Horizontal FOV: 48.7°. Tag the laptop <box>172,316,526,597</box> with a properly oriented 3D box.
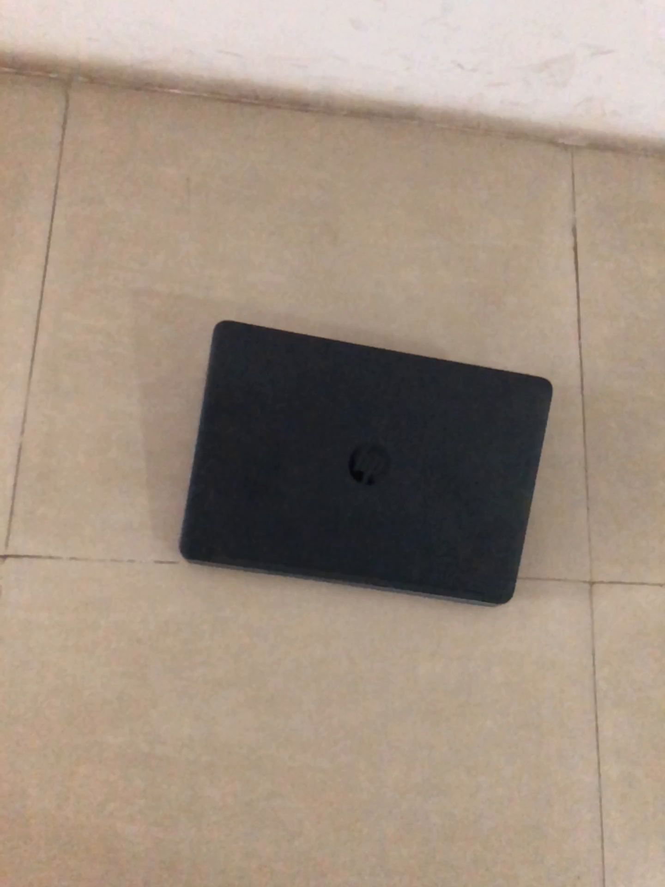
[{"bbox_3d":[0.018,0.020,0.718,0.304,0.085,0.214,9,79,-7],"label":"laptop"}]
